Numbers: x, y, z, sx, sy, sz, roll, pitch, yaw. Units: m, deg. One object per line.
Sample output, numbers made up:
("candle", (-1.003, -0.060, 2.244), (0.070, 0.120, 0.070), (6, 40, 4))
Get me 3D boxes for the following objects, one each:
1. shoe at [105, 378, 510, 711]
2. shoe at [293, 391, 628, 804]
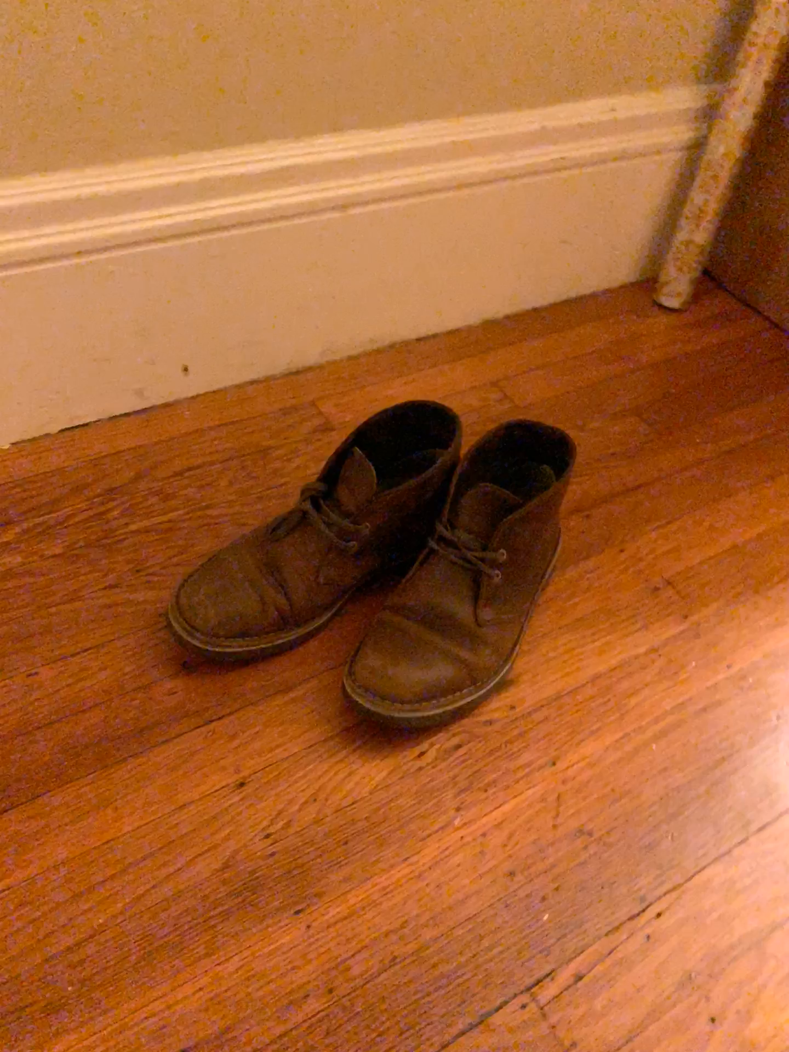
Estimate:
("shoe", (-0.063, 0.003, 0.663), (0.290, 0.119, 0.120), (-27, 55, -29))
("shoe", (0.059, 0.038, 0.634), (0.120, 0.119, 0.301), (26, 49, 17))
